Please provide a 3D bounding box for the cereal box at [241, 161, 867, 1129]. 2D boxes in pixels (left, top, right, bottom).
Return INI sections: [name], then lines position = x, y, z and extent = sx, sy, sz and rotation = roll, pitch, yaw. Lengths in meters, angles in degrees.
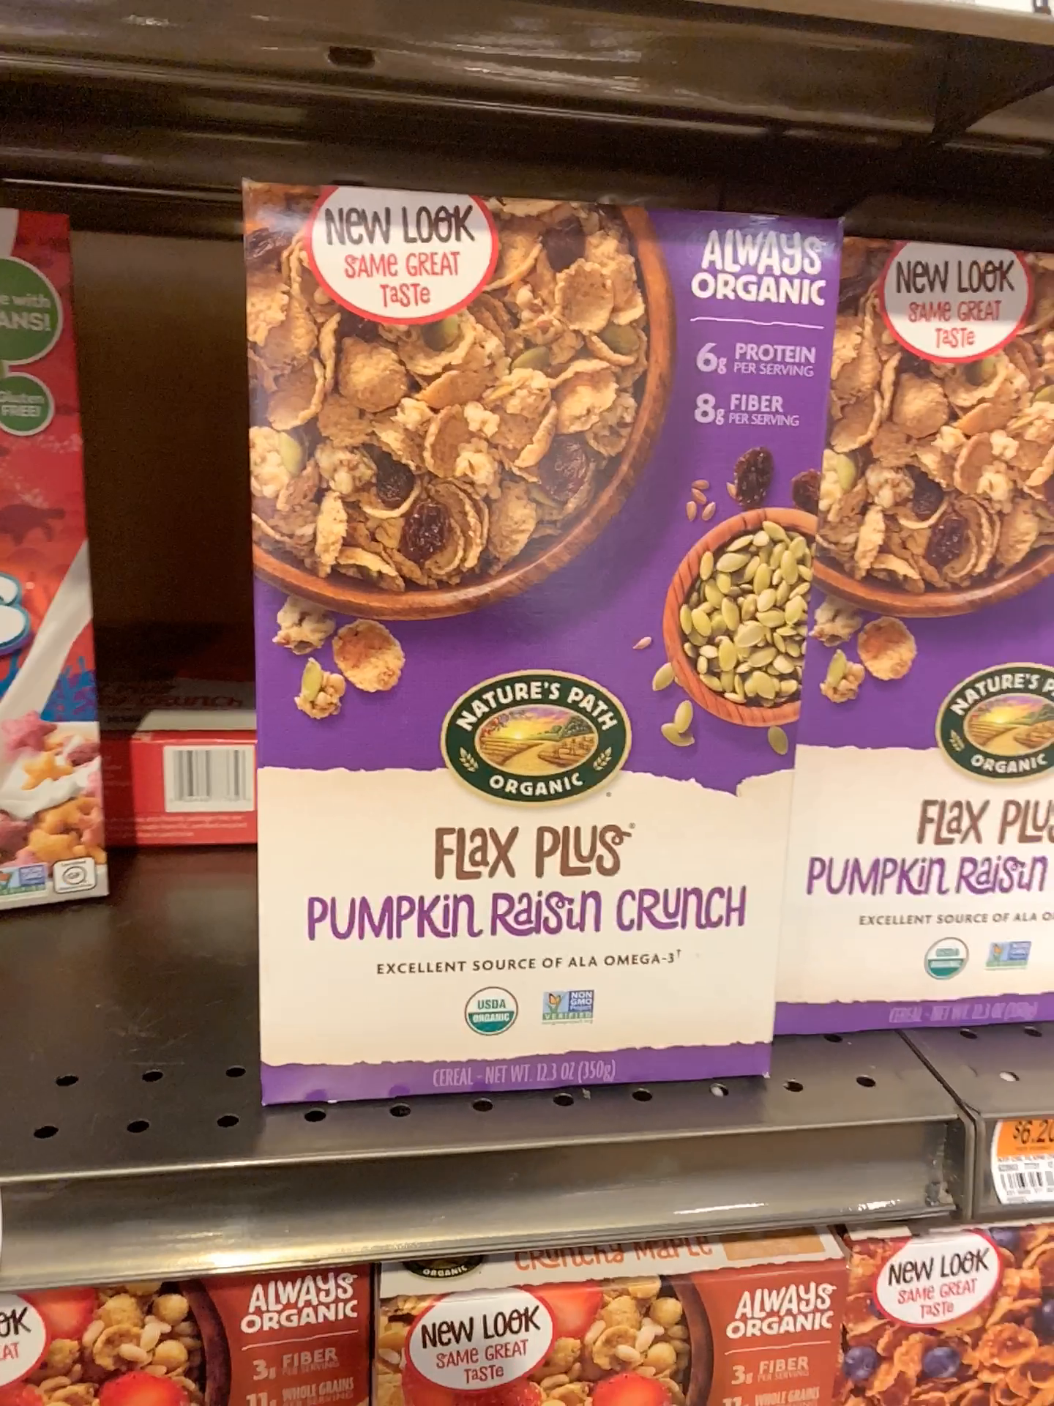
[cereal box]
position = 0.003, -0.010, 0.337
extent = 0.170, 0.269, 0.050
rotation = 0, 10, -9
